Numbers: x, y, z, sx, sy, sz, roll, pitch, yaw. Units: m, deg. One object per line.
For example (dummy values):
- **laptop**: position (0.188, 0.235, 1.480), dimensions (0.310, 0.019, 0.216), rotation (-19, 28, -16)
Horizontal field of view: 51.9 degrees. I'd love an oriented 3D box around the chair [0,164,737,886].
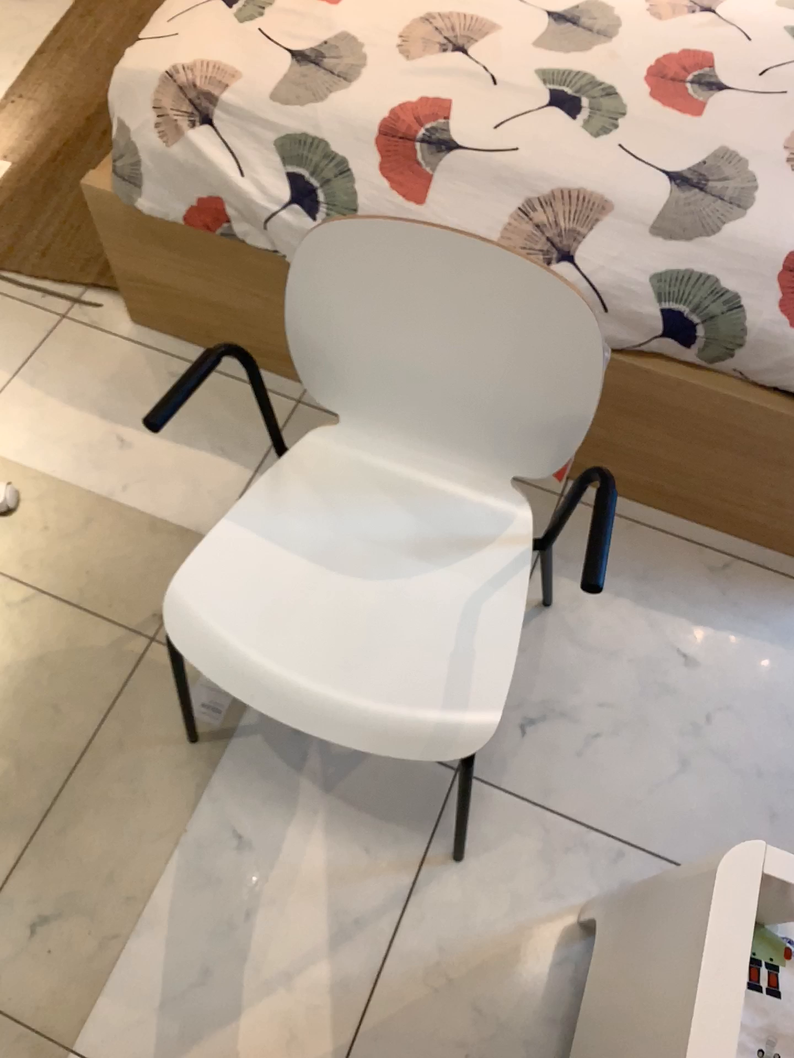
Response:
- **chair**: position (-0.006, 0.053, 1.089), dimensions (0.550, 0.699, 0.541), rotation (20, 62, 10)
